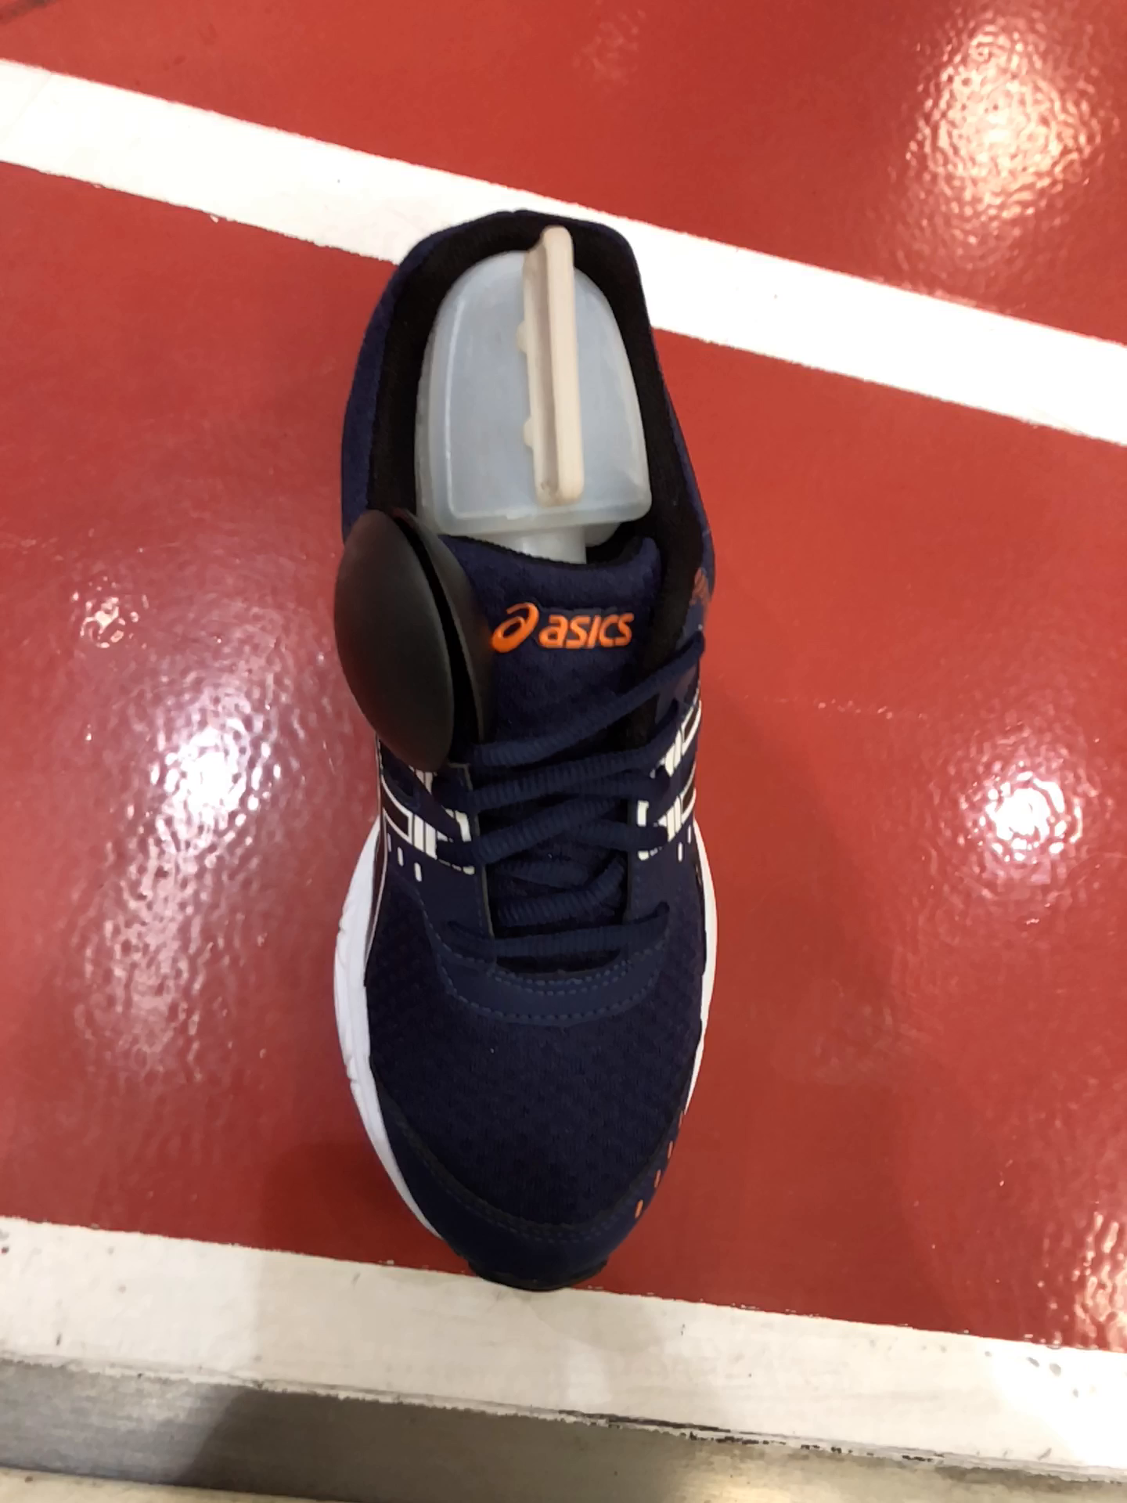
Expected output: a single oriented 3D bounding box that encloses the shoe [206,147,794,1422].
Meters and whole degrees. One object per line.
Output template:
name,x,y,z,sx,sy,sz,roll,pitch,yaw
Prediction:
shoe,-0.023,0.003,0.290,0.100,0.100,0.240,-2,81,-10
